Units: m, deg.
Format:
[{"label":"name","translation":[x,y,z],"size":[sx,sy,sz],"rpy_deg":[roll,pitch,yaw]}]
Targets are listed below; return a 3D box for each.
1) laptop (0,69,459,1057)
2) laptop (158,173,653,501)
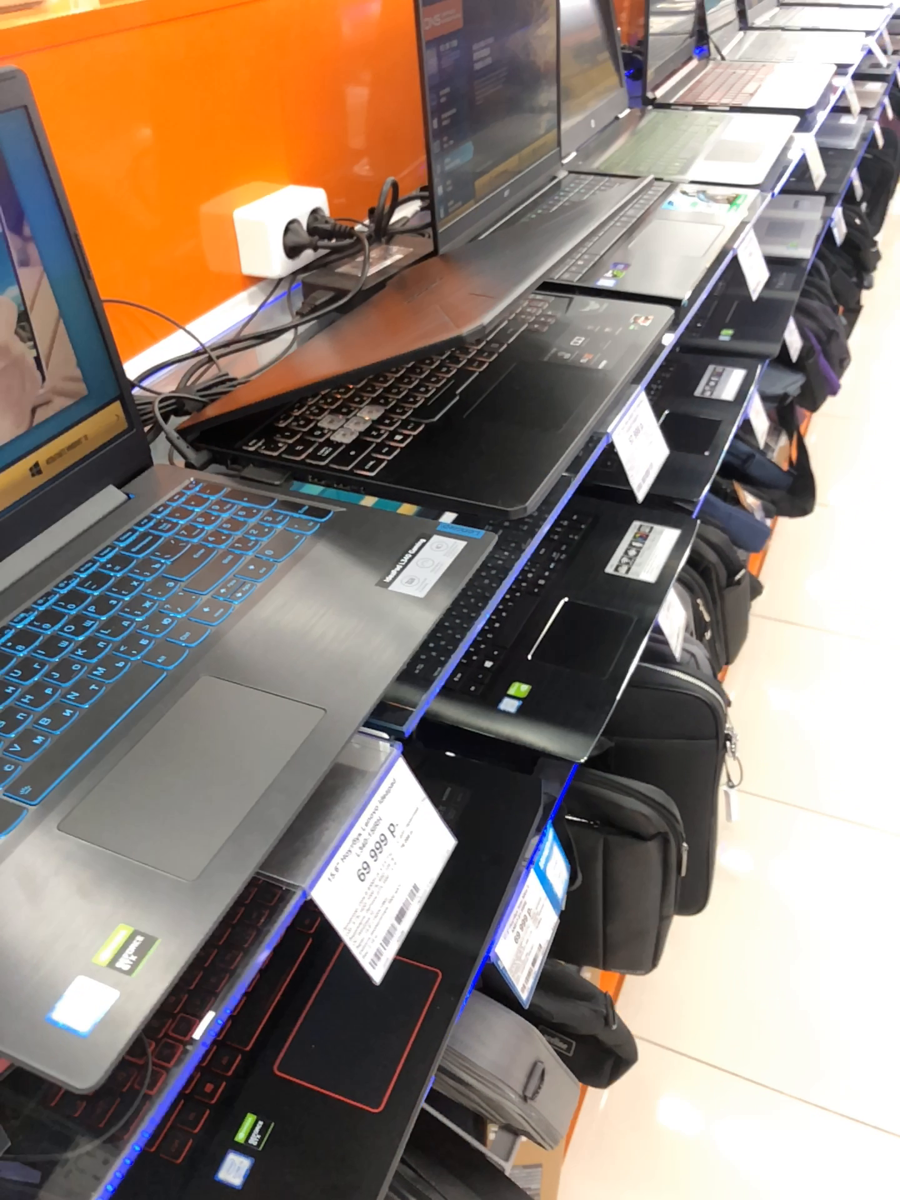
[{"label":"laptop","translation":[-0.204,-0.071,0.430],"size":[0.283,0.235,0.358],"rpy_deg":[13,38,20]},{"label":"laptop","translation":[-0.009,-0.223,0.756],"size":[0.239,0.106,0.348],"rpy_deg":[13,38,20]}]
